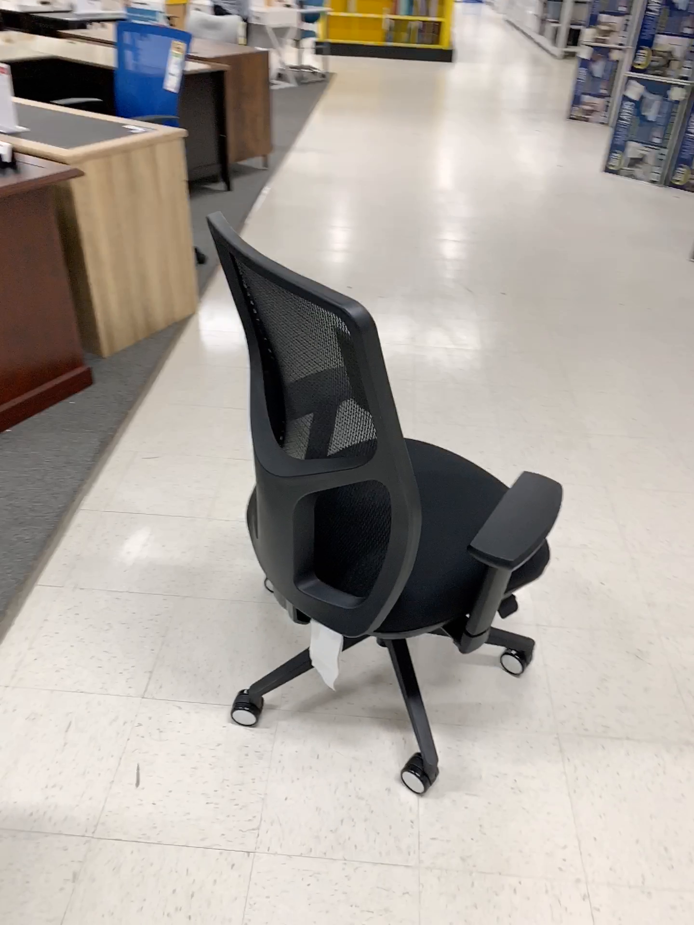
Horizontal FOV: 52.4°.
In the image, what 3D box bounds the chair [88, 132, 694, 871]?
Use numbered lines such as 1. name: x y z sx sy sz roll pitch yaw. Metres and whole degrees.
1. chair: 0.086 0.012 1.339 0.732 0.995 0.702 -23 43 -31
